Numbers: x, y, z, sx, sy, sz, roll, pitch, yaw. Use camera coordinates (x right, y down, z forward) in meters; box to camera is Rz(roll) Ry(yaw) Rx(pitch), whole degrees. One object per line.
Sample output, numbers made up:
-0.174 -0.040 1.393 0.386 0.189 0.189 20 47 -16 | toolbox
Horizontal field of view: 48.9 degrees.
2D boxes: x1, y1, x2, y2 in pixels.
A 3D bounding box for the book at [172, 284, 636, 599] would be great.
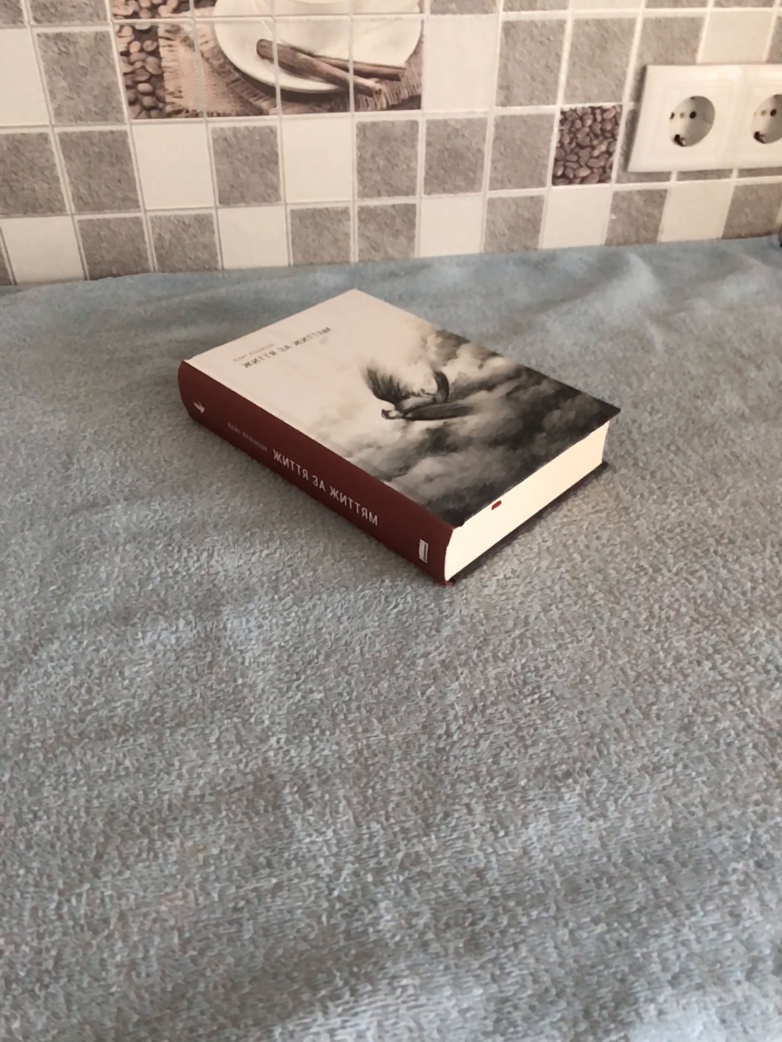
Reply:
0.003 -0.063 0.507 0.221 0.040 0.156 33 49 31 | book
